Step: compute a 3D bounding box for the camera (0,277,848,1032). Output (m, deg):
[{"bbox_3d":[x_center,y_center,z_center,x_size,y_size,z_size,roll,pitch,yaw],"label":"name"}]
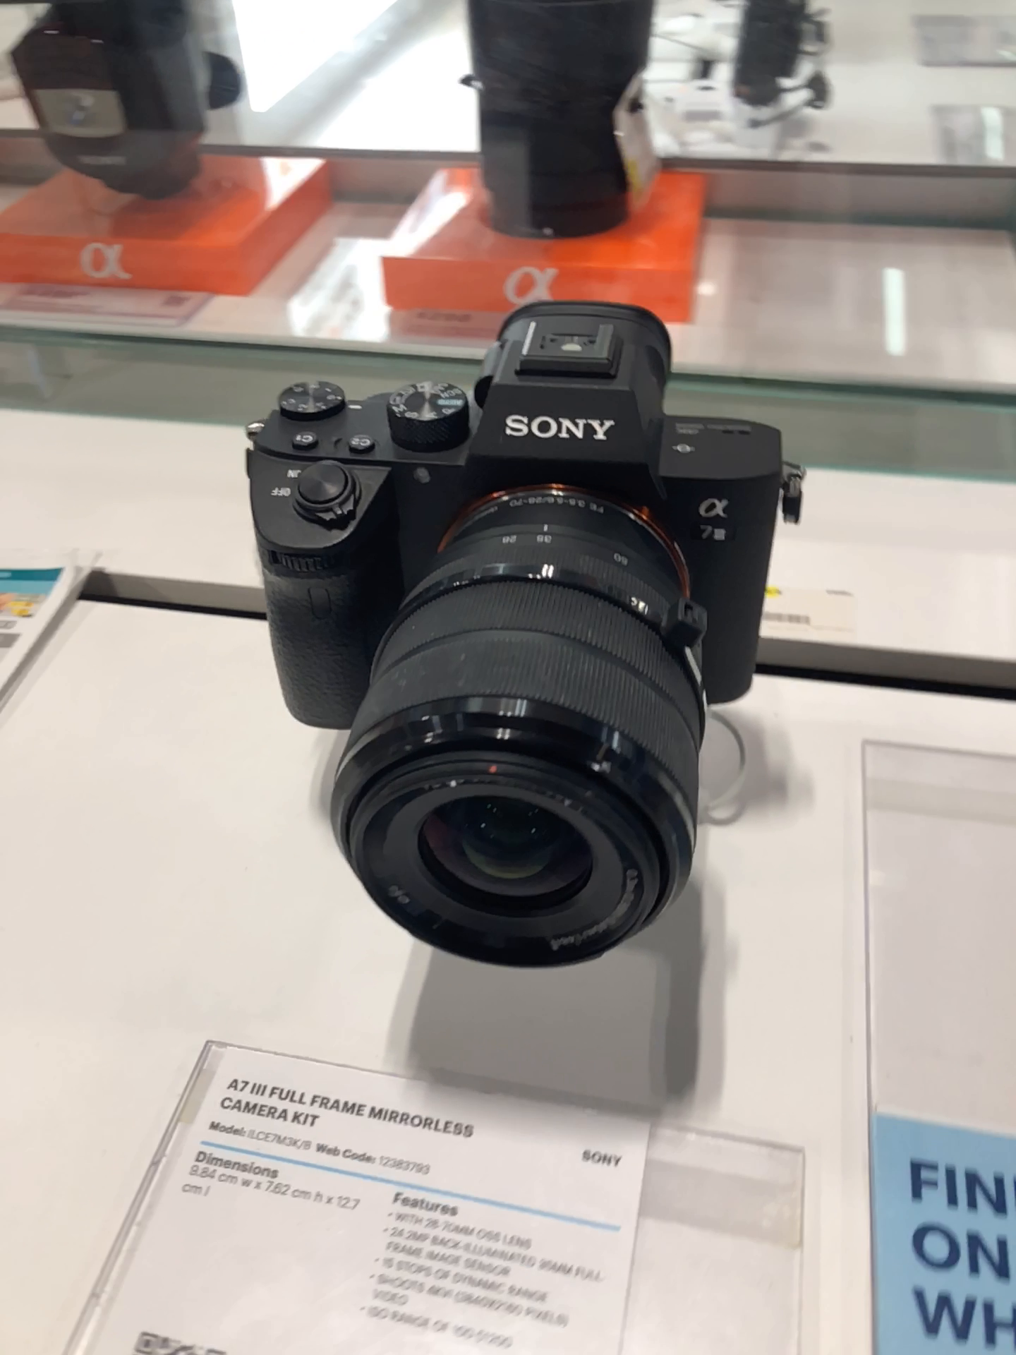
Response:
[{"bbox_3d":[-0.003,-0.020,0.263,0.140,0.079,0.161,5,43,9],"label":"camera"}]
